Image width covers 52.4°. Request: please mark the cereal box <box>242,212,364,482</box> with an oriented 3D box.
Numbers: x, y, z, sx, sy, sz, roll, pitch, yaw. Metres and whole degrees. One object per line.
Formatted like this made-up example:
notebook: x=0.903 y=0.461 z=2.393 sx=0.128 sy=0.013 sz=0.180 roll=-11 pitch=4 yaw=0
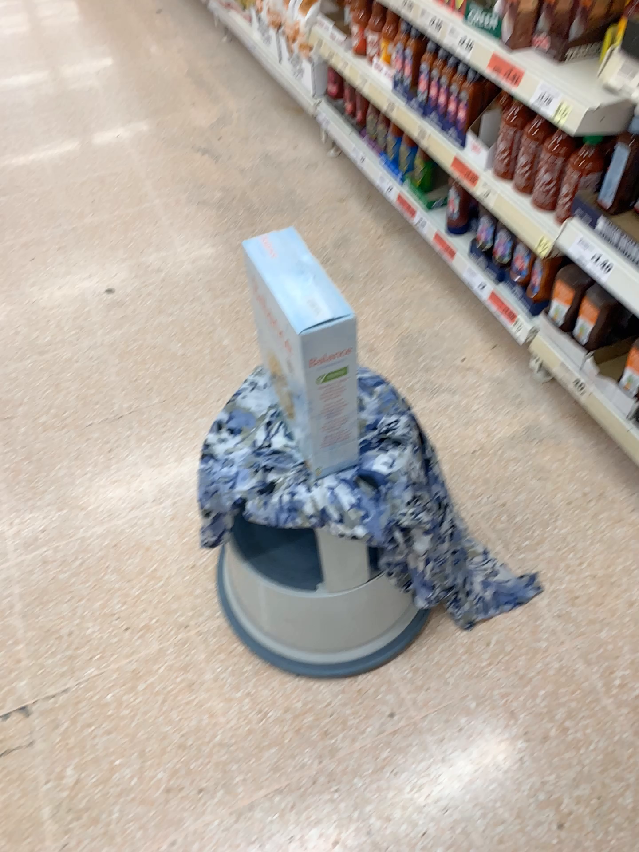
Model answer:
cereal box: x=-0.018 y=-0.097 z=0.856 sx=0.070 sy=0.278 sz=0.212 roll=-19 pitch=52 yaw=-12
